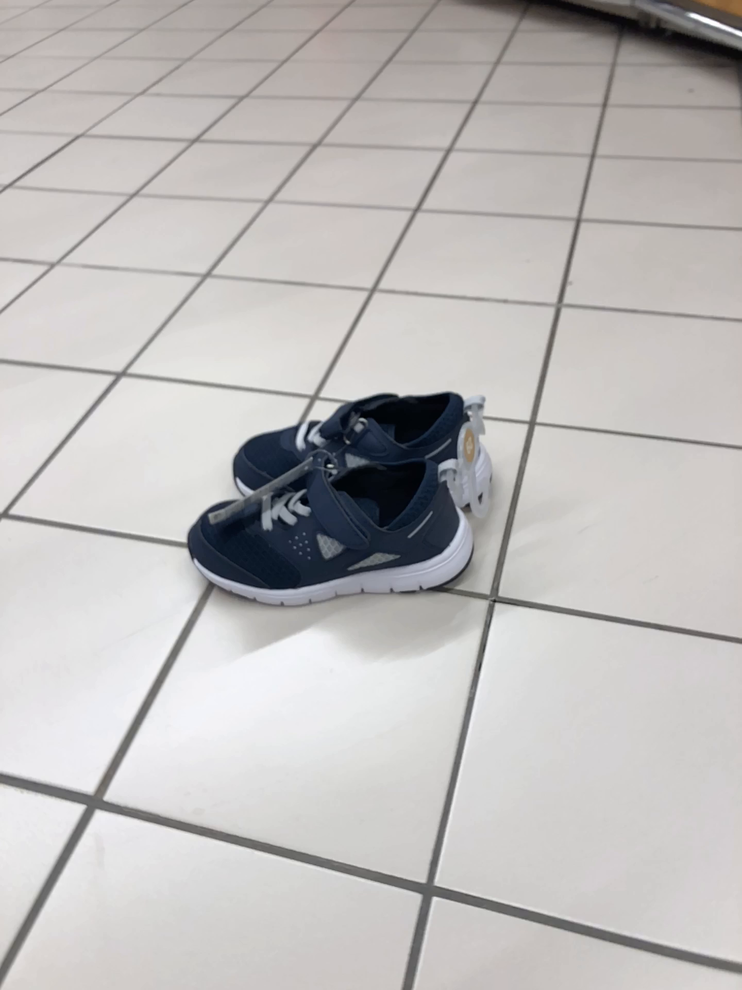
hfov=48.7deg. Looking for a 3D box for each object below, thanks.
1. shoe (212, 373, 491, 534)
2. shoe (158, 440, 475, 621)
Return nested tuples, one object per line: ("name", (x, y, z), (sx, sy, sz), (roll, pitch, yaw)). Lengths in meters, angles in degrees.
("shoe", (-0.011, -0.031, 0.630), (0.195, 0.084, 0.084), (-1, 43, 4))
("shoe", (-0.032, 0.025, 0.566), (0.198, 0.080, 0.081), (-3, 42, 2))
